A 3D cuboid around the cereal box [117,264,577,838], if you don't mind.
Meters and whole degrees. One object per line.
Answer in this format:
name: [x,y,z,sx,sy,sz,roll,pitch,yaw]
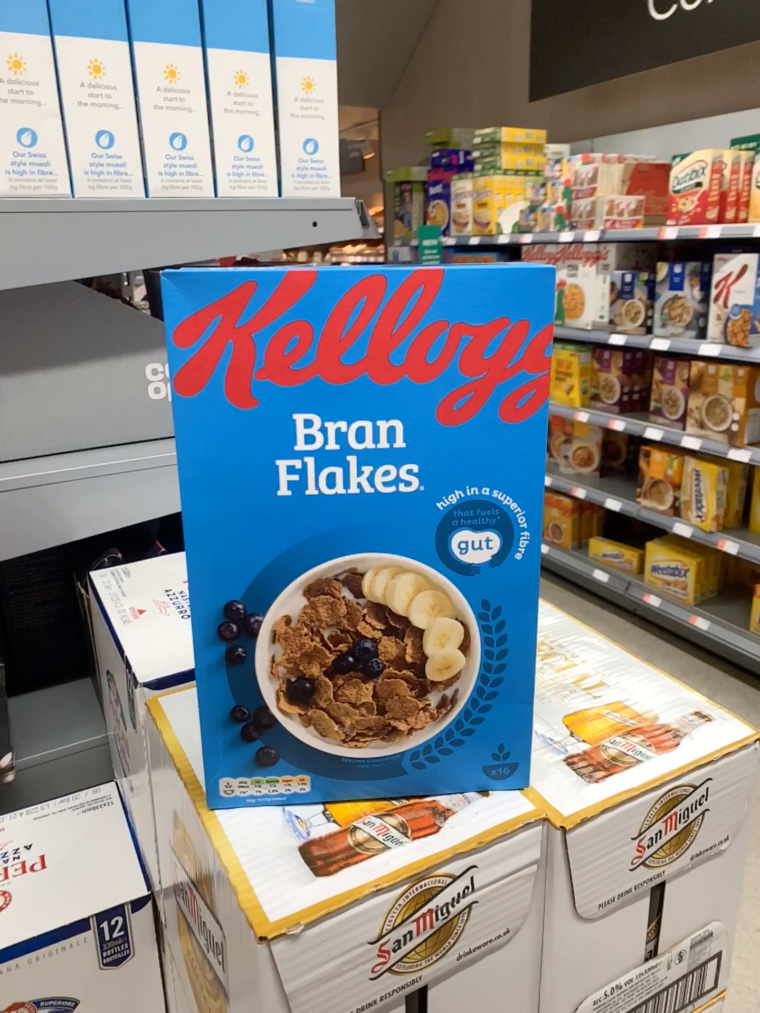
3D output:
cereal box: [-0.015,0.023,0.413,0.200,0.288,0.070,-2,17,-5]
